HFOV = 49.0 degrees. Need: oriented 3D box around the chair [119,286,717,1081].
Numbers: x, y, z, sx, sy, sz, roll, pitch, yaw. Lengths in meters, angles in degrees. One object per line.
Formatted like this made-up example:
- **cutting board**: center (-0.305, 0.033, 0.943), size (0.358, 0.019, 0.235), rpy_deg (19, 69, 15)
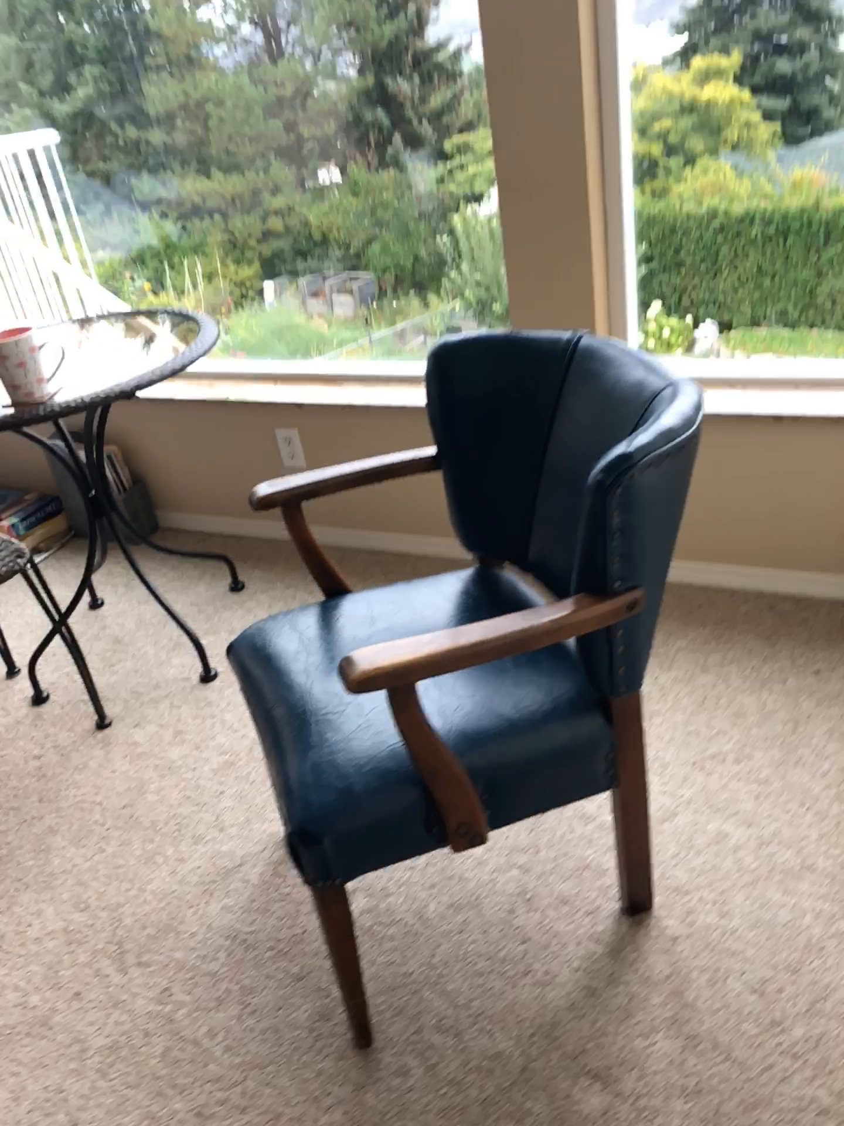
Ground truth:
- **chair**: center (0.005, 0.130, 1.281), size (0.560, 0.797, 0.532), rpy_deg (-18, 31, -13)
